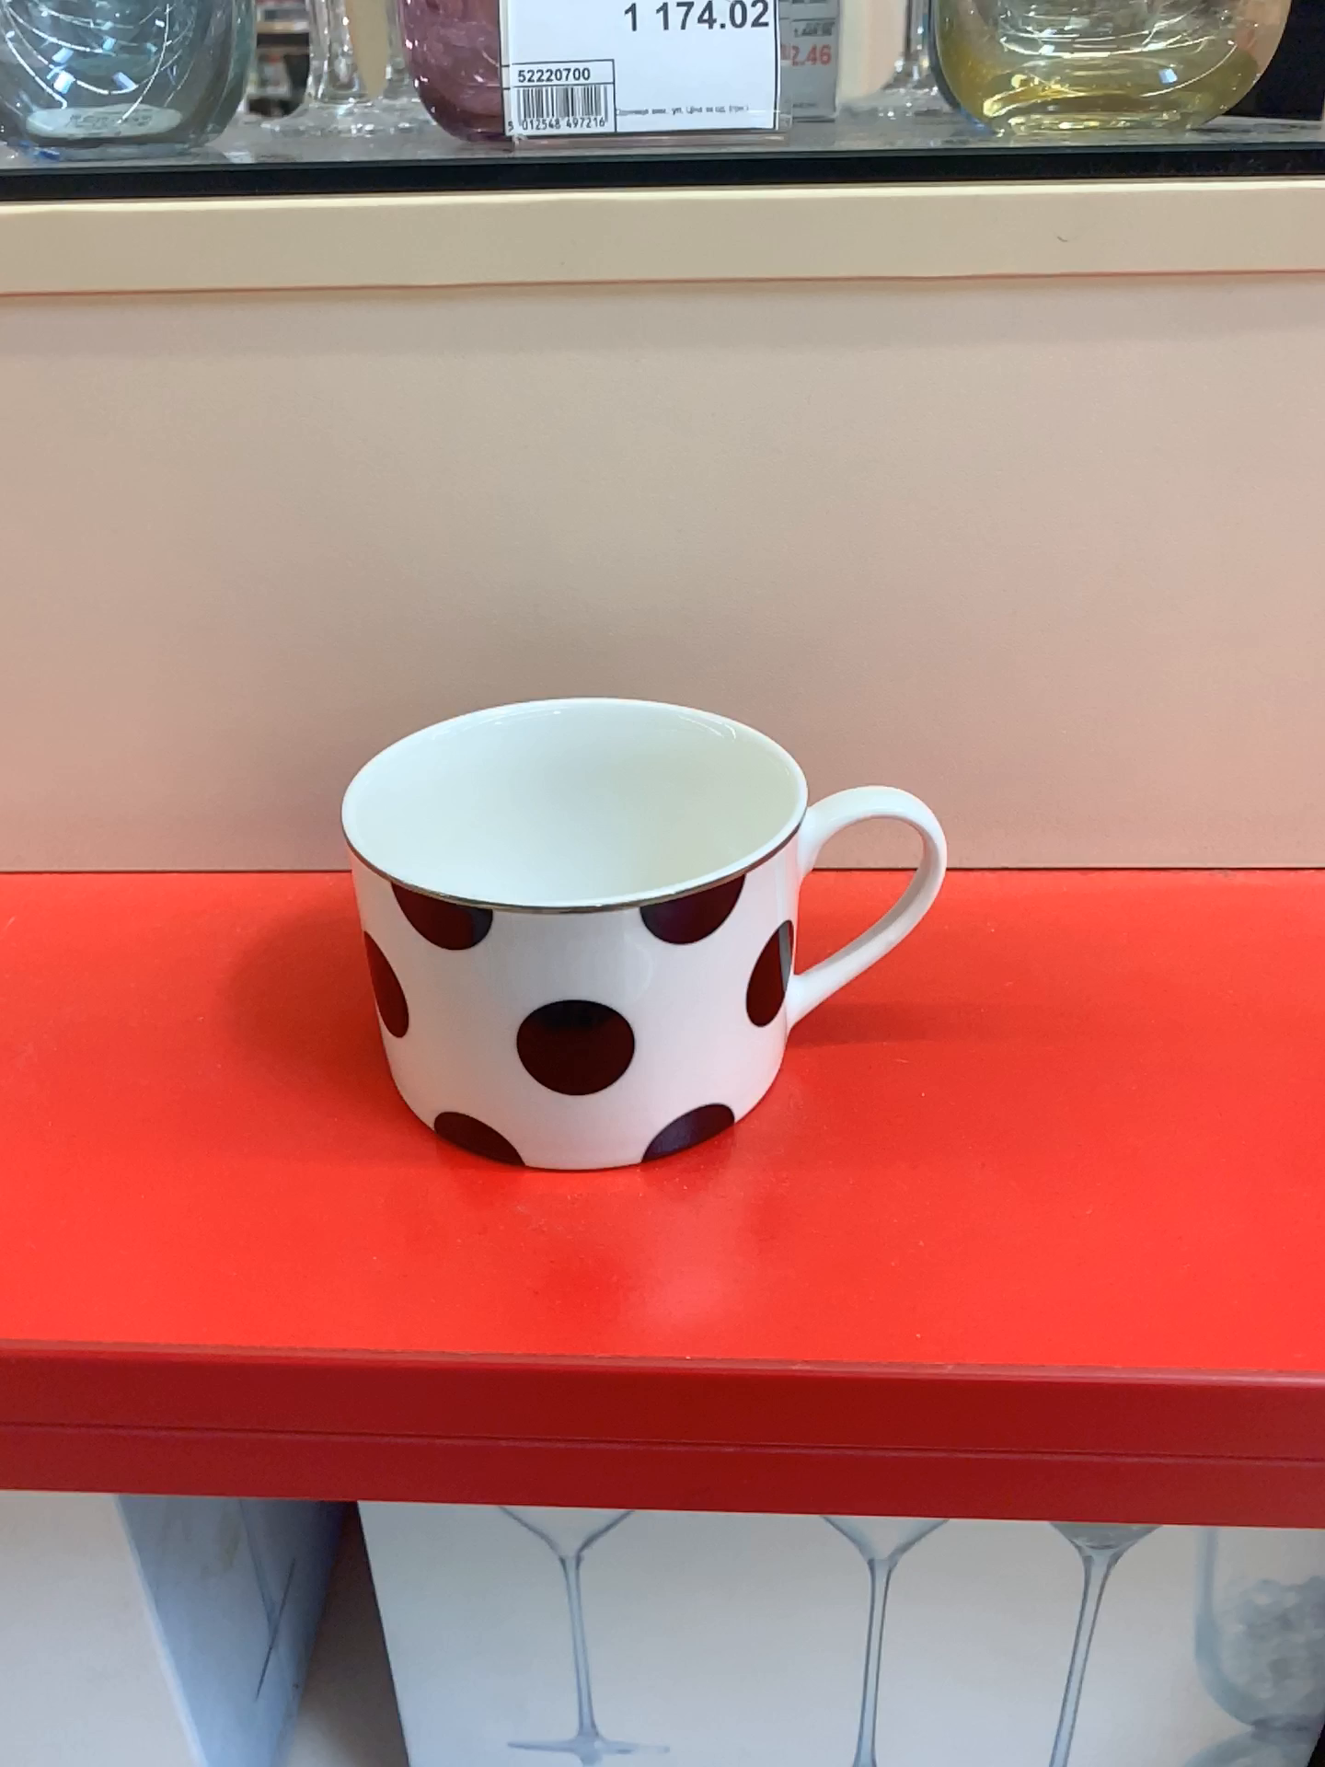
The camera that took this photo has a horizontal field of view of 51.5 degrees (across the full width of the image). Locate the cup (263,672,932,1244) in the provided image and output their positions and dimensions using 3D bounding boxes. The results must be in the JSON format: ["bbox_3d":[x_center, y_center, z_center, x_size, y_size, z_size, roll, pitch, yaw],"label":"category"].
[{"bbox_3d":[-0.011,0.010,0.257,0.100,0.070,0.080,-3,29,-2],"label":"cup"}]
